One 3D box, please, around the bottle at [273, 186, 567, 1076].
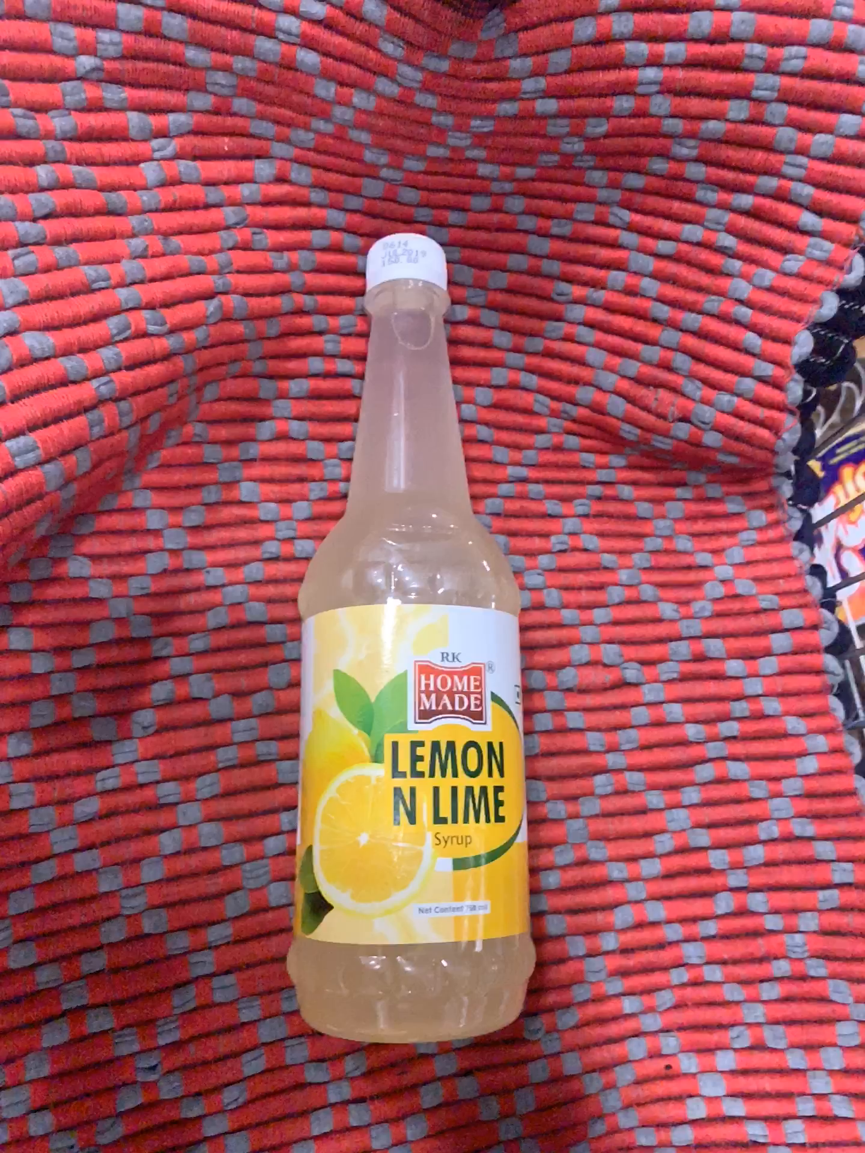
[{"bbox_3d":[-0.012,0.007,0.293,0.070,0.070,0.260,2,71,-12],"label":"bottle"}]
